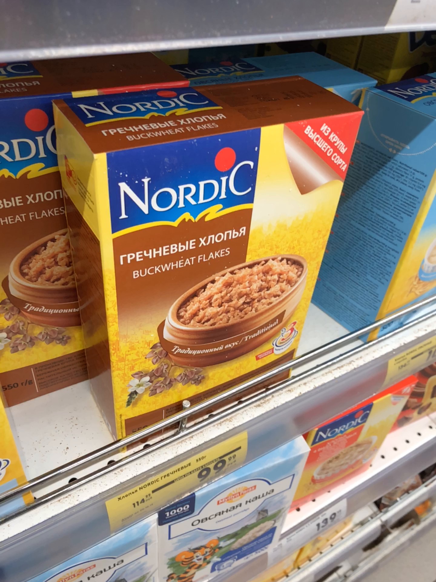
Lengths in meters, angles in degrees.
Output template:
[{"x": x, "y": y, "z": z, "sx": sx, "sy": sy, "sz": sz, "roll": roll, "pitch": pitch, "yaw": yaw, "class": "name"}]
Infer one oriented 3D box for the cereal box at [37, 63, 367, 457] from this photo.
[{"x": -0.013, "y": -0.013, "z": 0.298, "sx": 0.140, "sy": 0.209, "sz": 0.070, "roll": -18, "pitch": 46, "yaw": -25, "class": "cereal box"}]
